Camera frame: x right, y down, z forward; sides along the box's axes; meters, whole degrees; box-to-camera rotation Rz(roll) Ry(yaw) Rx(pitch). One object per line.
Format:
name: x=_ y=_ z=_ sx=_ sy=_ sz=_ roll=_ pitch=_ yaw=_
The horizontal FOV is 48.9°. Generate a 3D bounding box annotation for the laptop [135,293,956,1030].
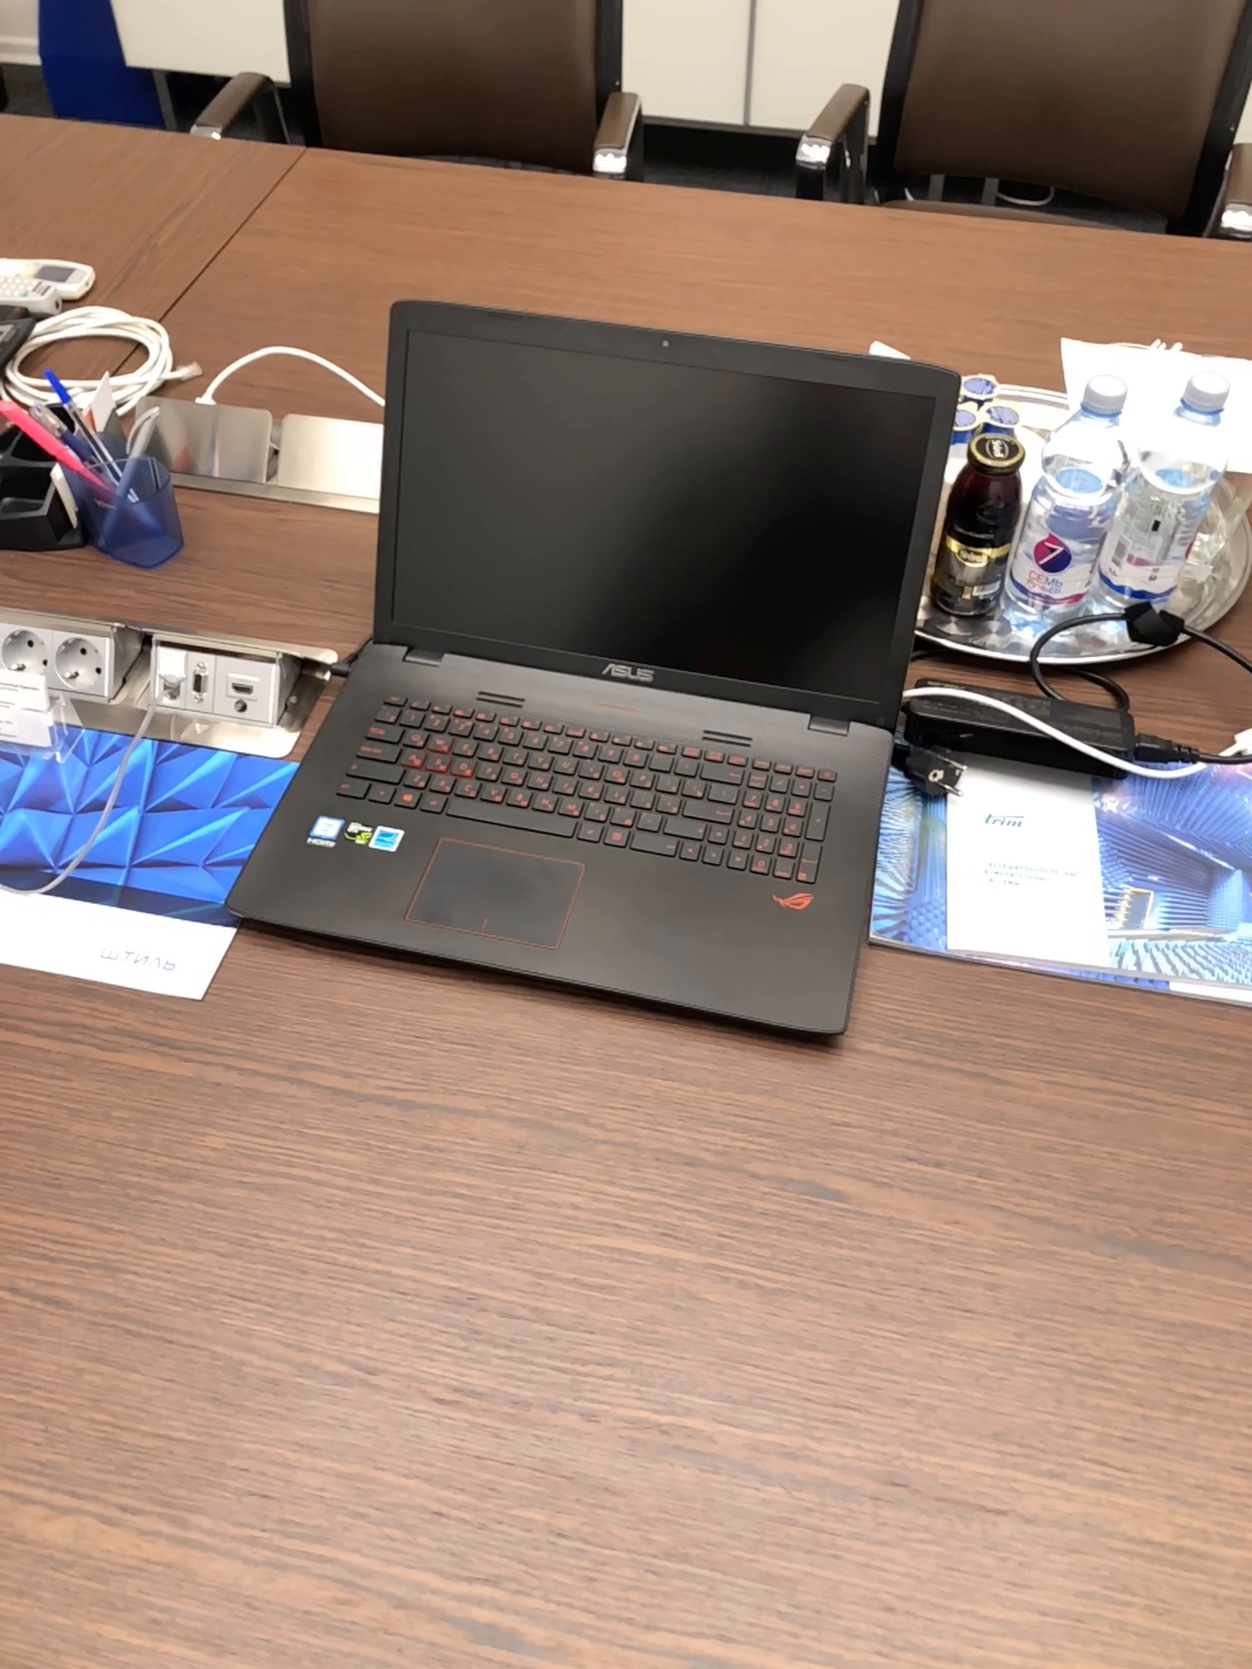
laptop: x=-0.020 y=-0.126 z=0.851 sx=0.379 sy=0.194 sz=0.370 roll=10 pitch=51 yaw=9
